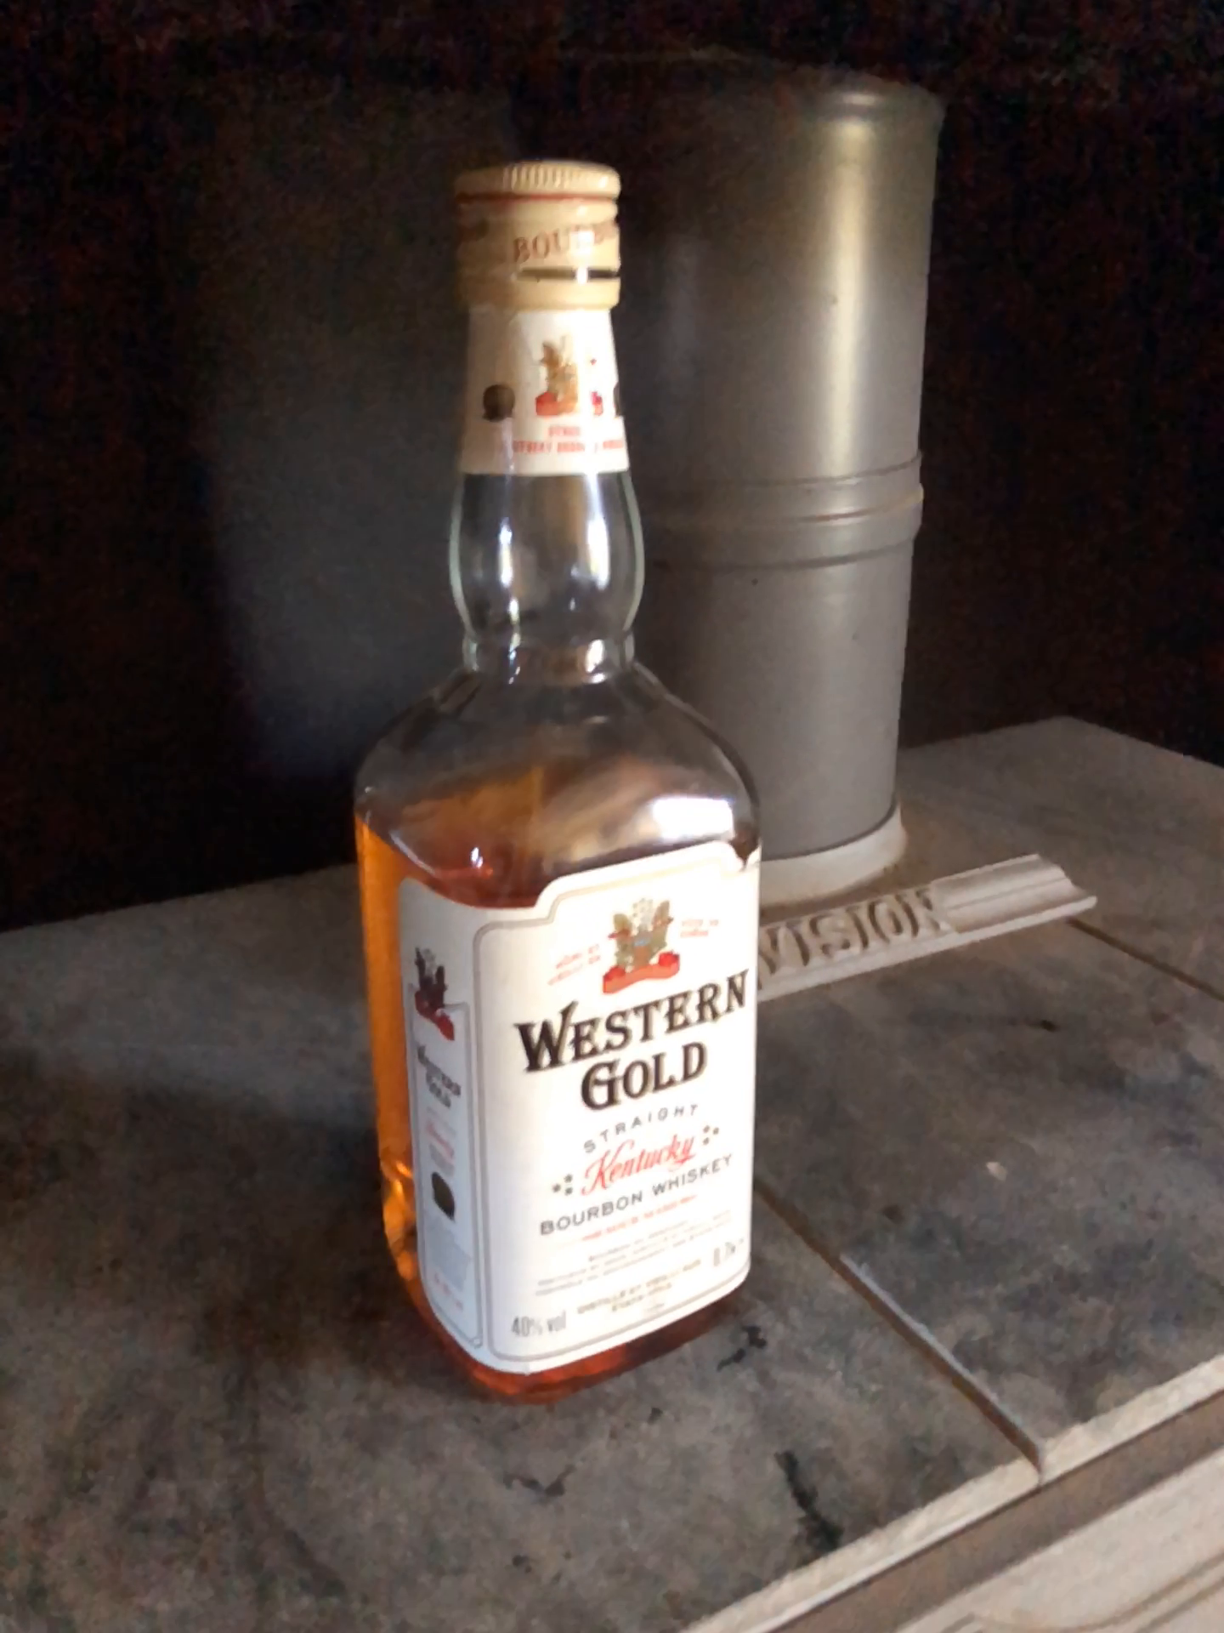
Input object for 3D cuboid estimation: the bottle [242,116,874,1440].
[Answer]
[{"bbox_3d":[-0.010,-0.007,0.294,0.090,0.249,0.080,-13,23,-27],"label":"bottle"}]
